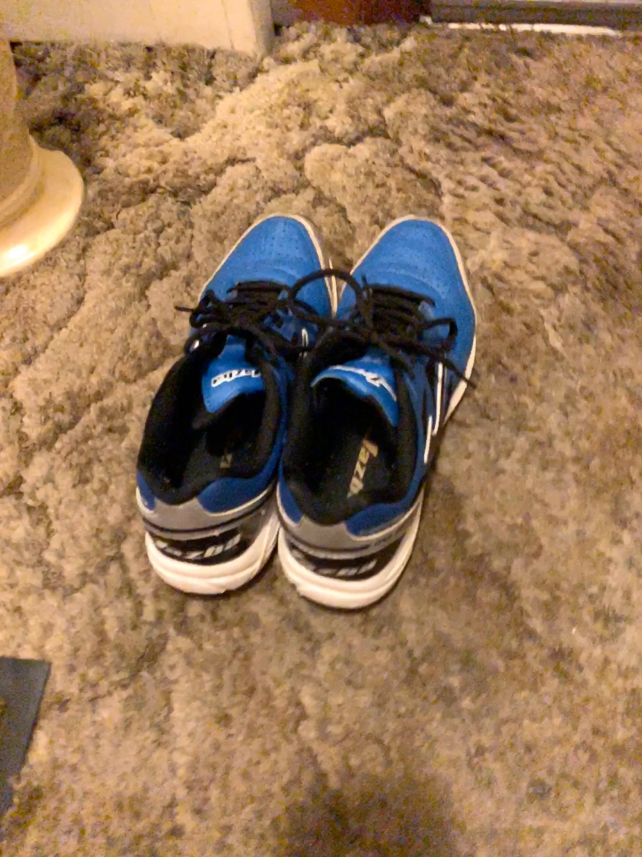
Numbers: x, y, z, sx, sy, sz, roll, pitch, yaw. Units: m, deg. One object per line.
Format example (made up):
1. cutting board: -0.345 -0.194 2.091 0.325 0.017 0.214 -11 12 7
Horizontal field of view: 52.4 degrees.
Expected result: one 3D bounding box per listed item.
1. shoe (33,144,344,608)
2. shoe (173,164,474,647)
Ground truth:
1. shoe: -0.062 -0.039 0.428 0.100 0.119 0.272 8 64 9
2. shoe: 0.018 -0.021 0.429 0.100 0.119 0.282 12 65 11
